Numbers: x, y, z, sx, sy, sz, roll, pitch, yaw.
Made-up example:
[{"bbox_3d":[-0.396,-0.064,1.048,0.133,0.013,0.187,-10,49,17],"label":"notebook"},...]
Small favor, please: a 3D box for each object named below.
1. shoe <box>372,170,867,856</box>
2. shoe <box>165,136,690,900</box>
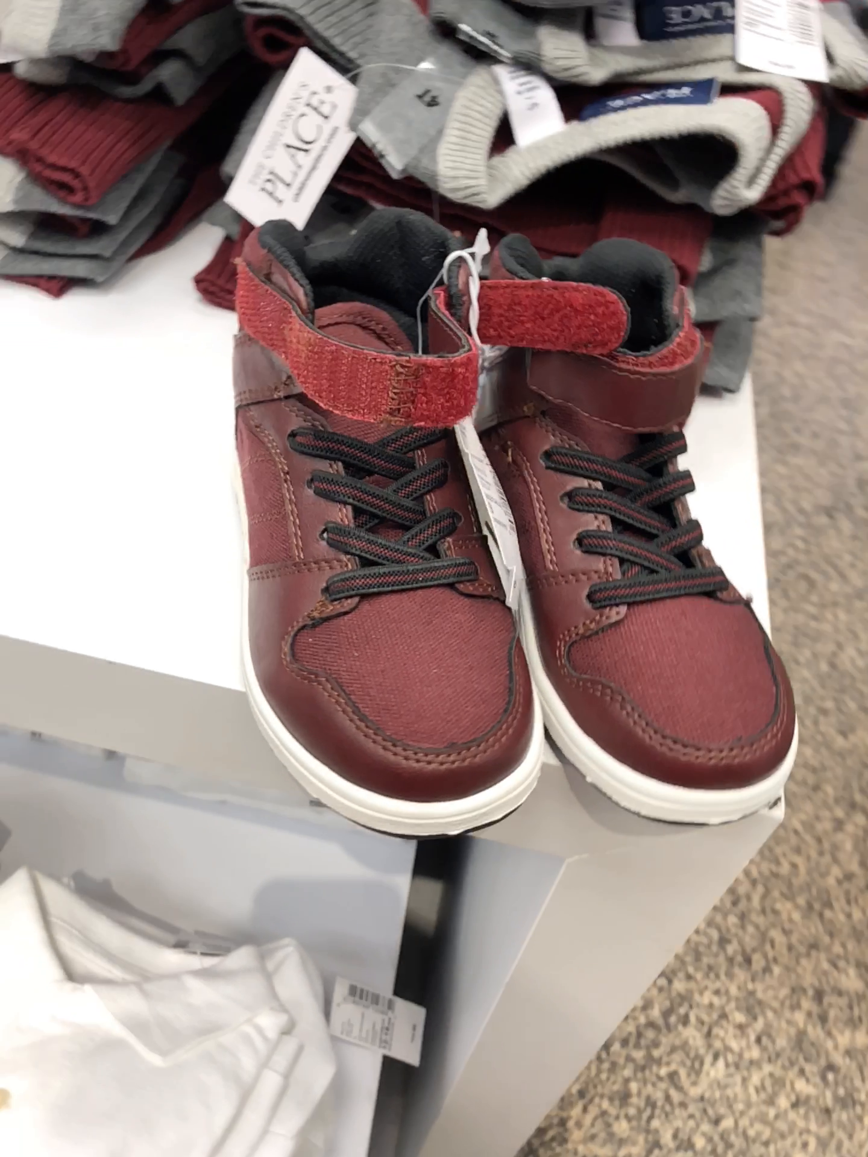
[{"bbox_3d":[0.047,-0.030,0.289,0.080,0.100,0.181,-7,50,-17],"label":"shoe"},{"bbox_3d":[-0.019,-0.024,0.242,0.070,0.100,0.160,-7,50,-17],"label":"shoe"}]
